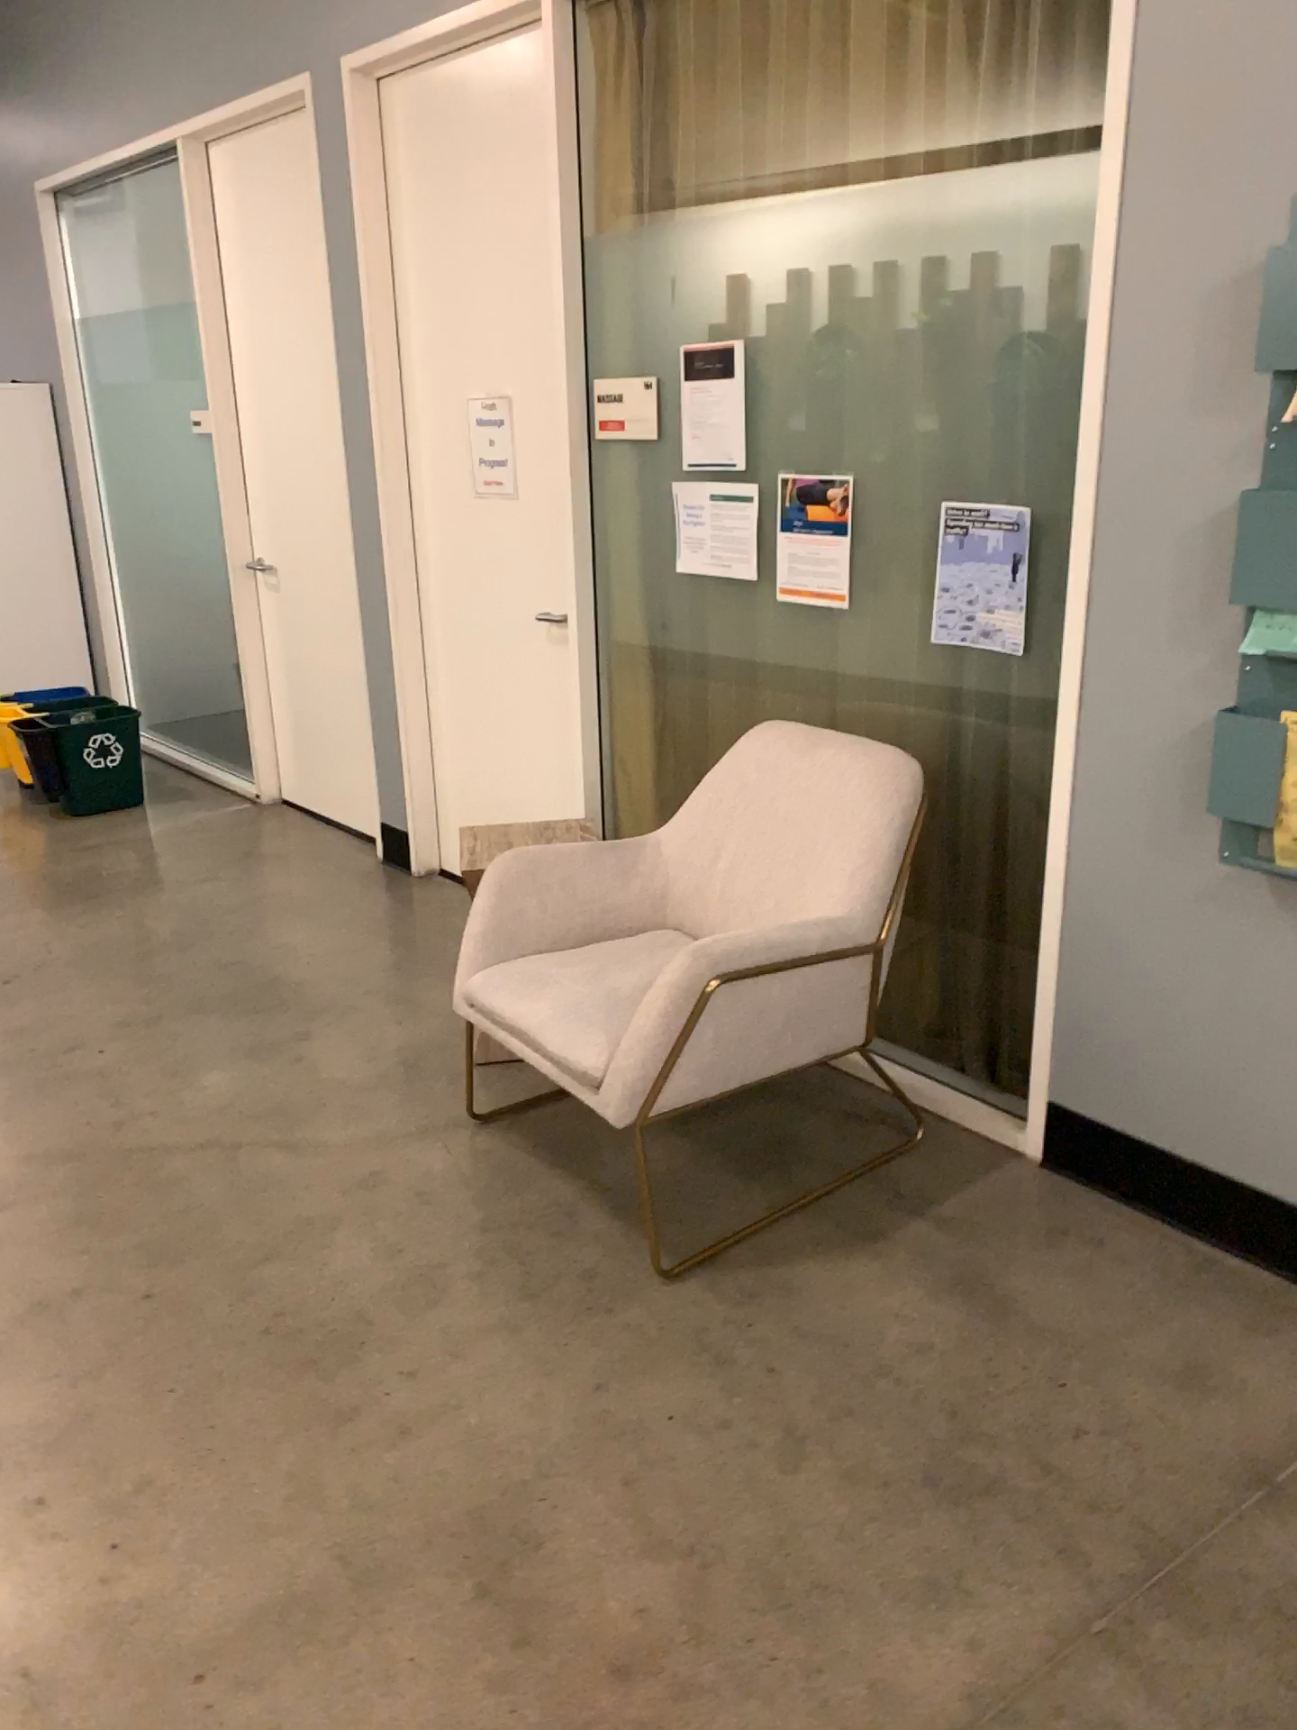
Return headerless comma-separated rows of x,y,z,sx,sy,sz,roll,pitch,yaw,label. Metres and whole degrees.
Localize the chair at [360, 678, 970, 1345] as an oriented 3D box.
0.033,0.195,2.677,0.871,0.926,0.783,-16,23,-36,chair
